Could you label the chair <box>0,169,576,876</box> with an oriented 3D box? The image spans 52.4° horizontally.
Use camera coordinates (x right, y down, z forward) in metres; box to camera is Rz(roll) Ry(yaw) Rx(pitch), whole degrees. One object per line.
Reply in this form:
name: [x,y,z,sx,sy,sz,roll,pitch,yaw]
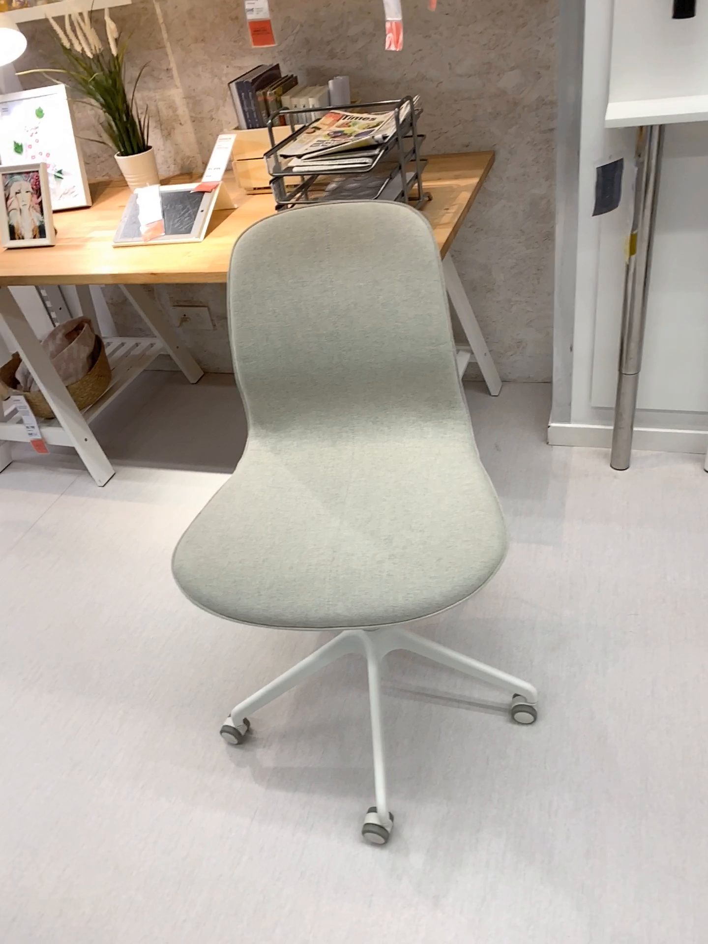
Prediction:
chair: [-0.002,0.079,1.194,0.661,0.866,0.662,1,38,15]
